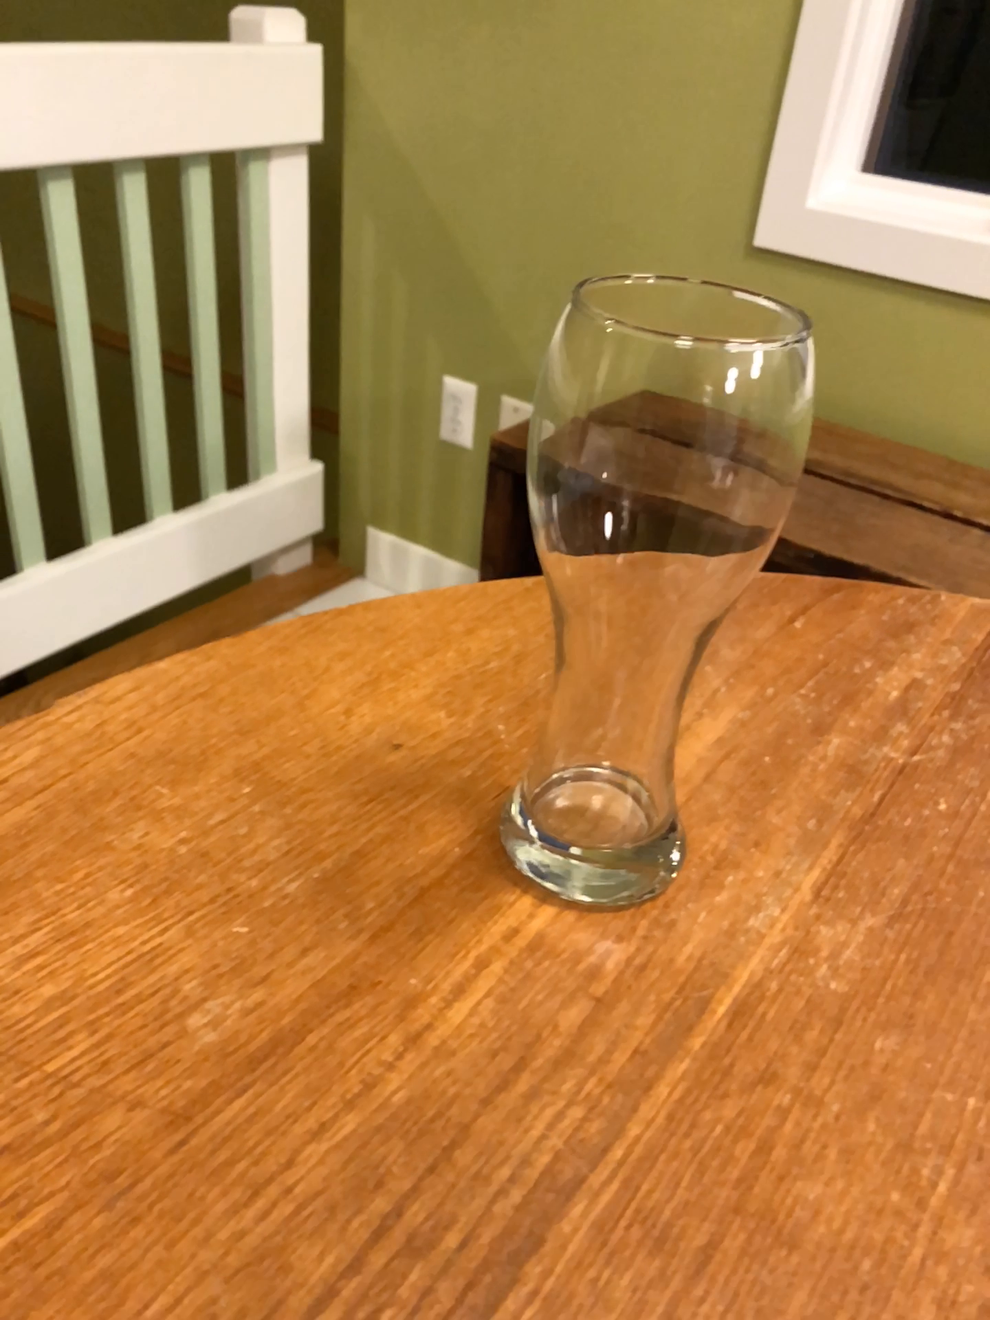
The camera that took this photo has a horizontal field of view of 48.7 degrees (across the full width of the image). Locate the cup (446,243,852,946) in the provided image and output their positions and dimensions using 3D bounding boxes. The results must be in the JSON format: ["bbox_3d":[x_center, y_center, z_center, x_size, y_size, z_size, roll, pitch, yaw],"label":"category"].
[{"bbox_3d":[0.049,-0.020,0.396,0.093,0.222,0.088,4,32,-3],"label":"cup"}]
